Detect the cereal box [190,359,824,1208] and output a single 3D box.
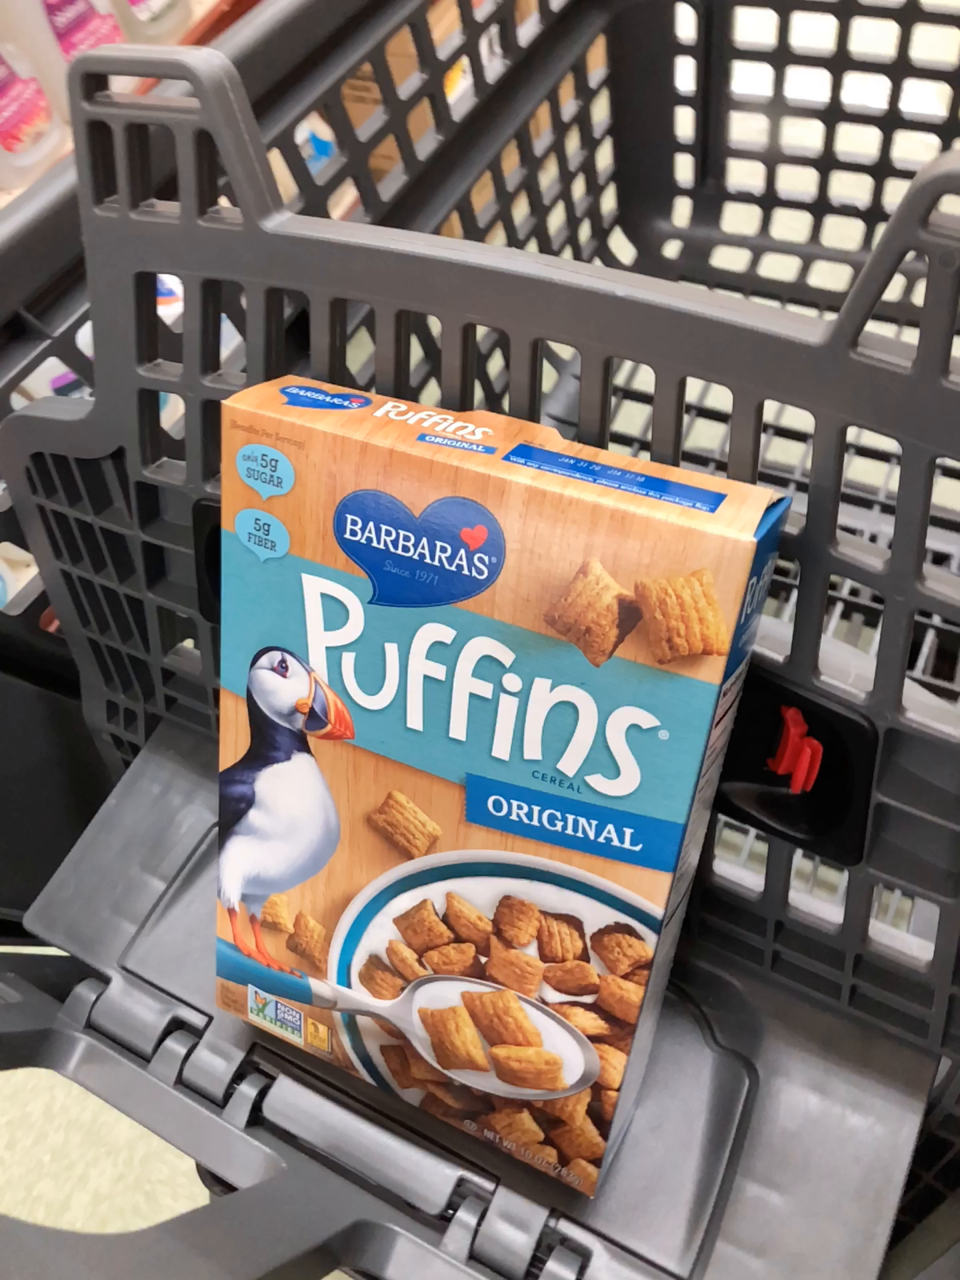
[{"bbox_3d":[-0.011,0.053,0.379,0.190,0.260,0.050,18,28,21],"label":"cereal box"}]
